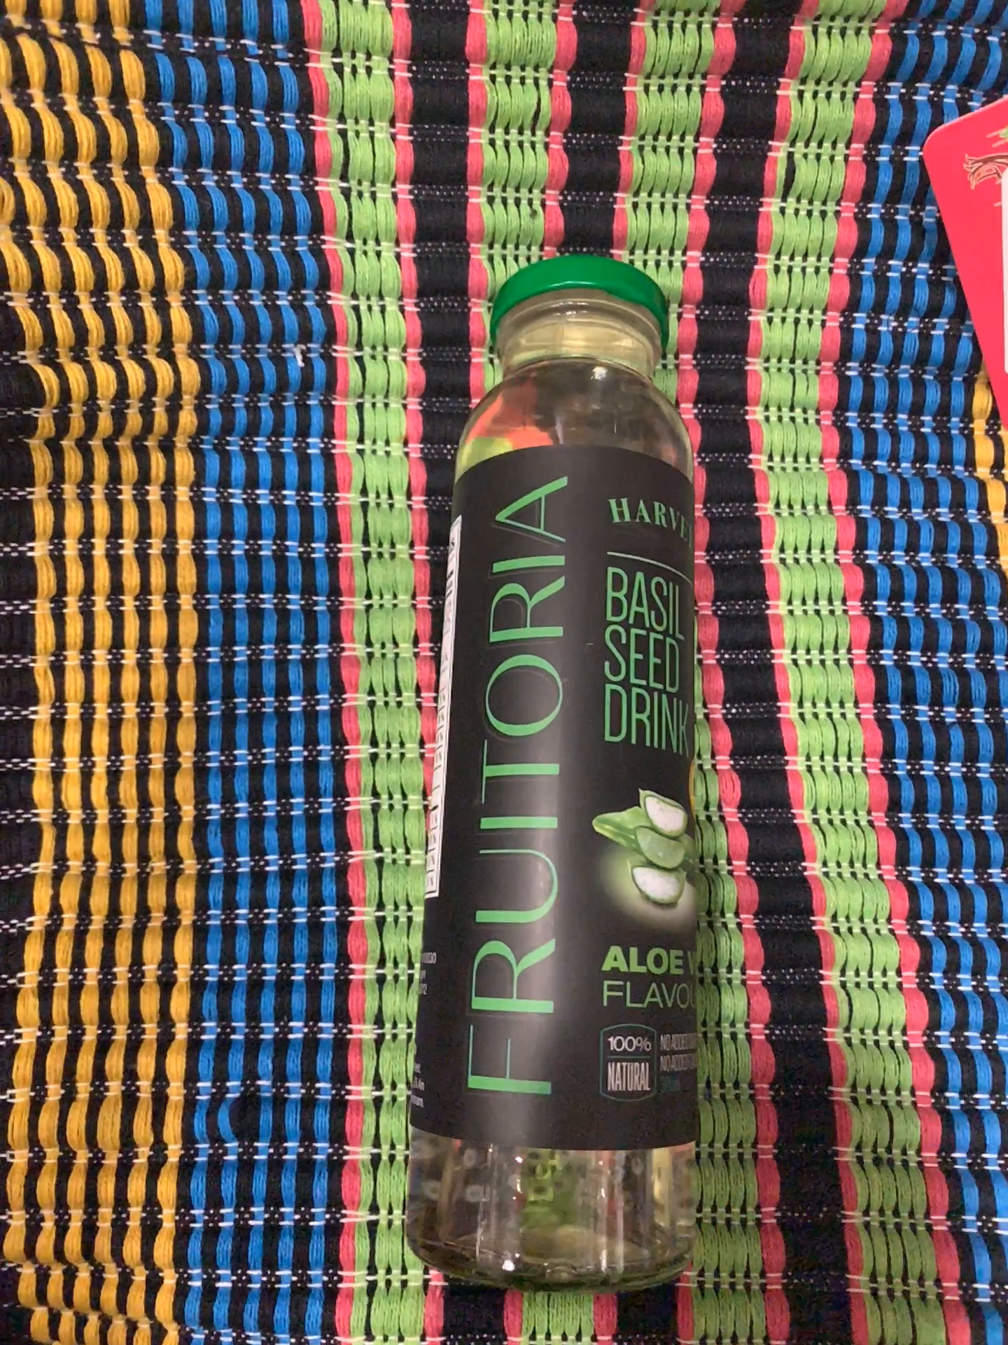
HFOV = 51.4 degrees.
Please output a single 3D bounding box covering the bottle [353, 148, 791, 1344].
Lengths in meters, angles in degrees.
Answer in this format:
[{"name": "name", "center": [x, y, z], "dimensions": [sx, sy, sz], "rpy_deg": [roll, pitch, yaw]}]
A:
[{"name": "bottle", "center": [0.013, 0.012, 0.205], "dimensions": [0.050, 0.060, 0.200], "rpy_deg": [11, 75, -36]}]
